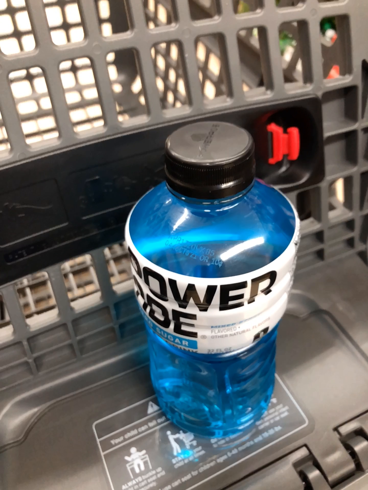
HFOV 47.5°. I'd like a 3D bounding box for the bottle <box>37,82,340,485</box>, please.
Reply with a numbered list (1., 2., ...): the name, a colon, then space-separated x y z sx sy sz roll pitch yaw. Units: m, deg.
1. bottle: 0.016 0.033 0.257 0.100 0.220 0.100 -4 40 3
